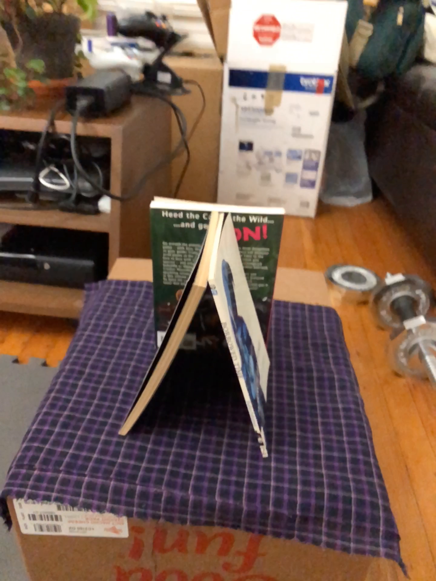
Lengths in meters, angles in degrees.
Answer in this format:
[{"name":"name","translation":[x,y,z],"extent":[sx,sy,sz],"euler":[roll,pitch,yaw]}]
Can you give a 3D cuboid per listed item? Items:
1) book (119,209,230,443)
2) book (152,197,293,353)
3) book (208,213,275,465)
[{"name":"book","translation":[-0.042,0.033,0.482],"extent":[0.010,0.199,0.151],"euler":[24,32,-6]},{"name":"book","translation":[-0.001,-0.010,0.544],"extent":[0.140,0.189,0.020],"euler":[5,37,1]},{"name":"book","translation":[0.029,0.043,0.468],"extent":[0.010,0.199,0.141],"euler":[-11,28,11]}]
